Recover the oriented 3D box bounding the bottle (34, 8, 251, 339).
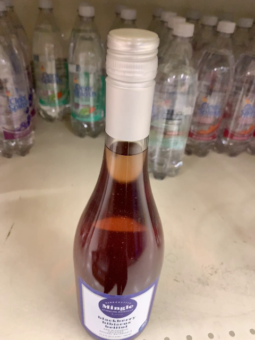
[{"bbox_3d":[-0.003,0.041,0.231,0.090,0.298,0.080,3,37,-3],"label":"bottle"}]
